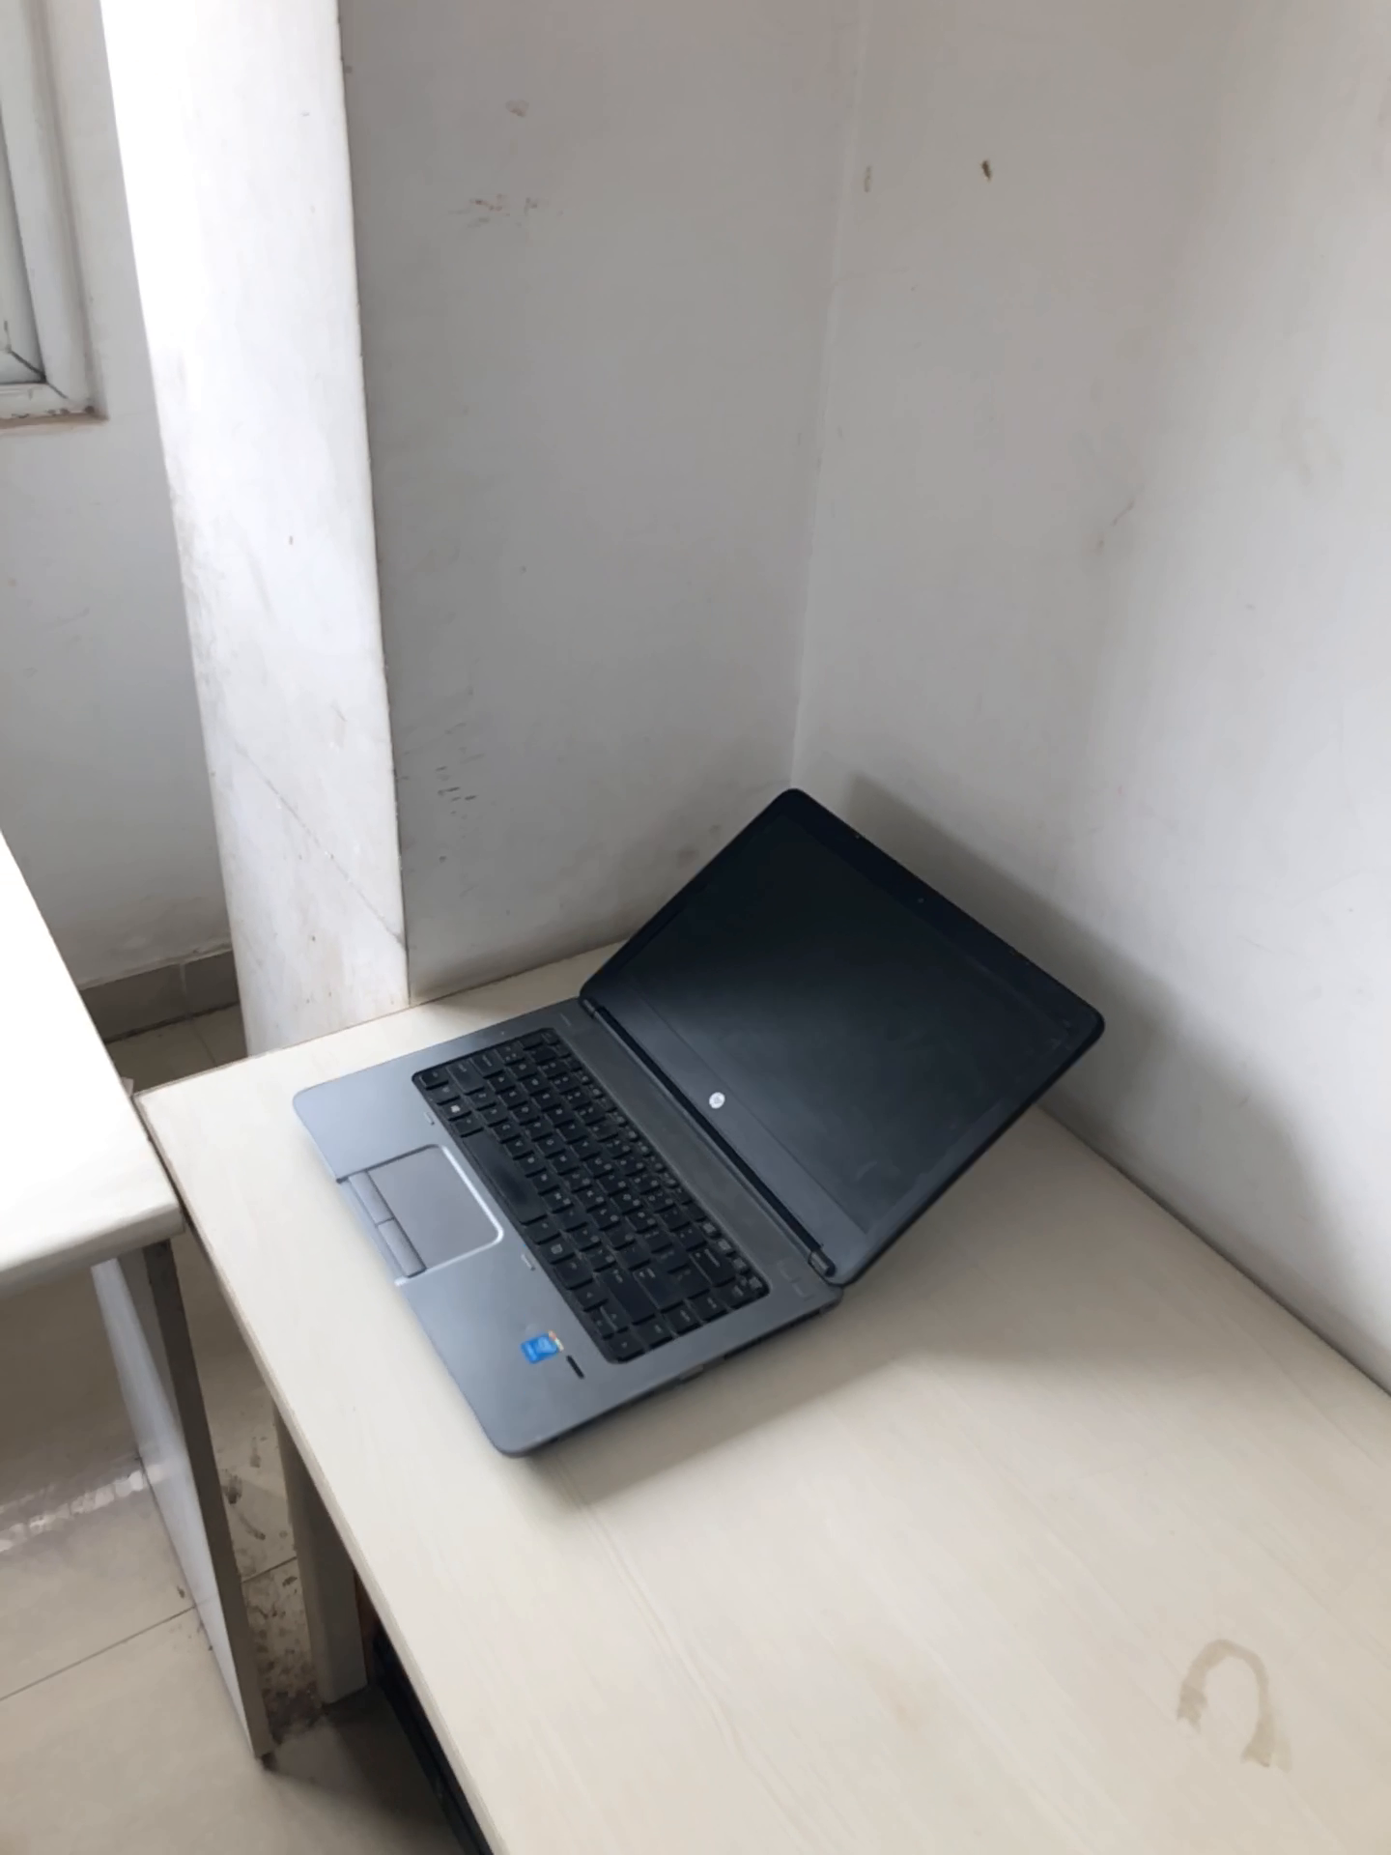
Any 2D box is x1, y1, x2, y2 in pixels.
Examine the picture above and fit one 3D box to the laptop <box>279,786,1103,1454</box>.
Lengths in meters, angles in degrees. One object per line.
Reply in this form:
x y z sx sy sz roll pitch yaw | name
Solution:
-0.011 0.090 0.995 0.406 0.137 0.328 -18 41 -27 | laptop
